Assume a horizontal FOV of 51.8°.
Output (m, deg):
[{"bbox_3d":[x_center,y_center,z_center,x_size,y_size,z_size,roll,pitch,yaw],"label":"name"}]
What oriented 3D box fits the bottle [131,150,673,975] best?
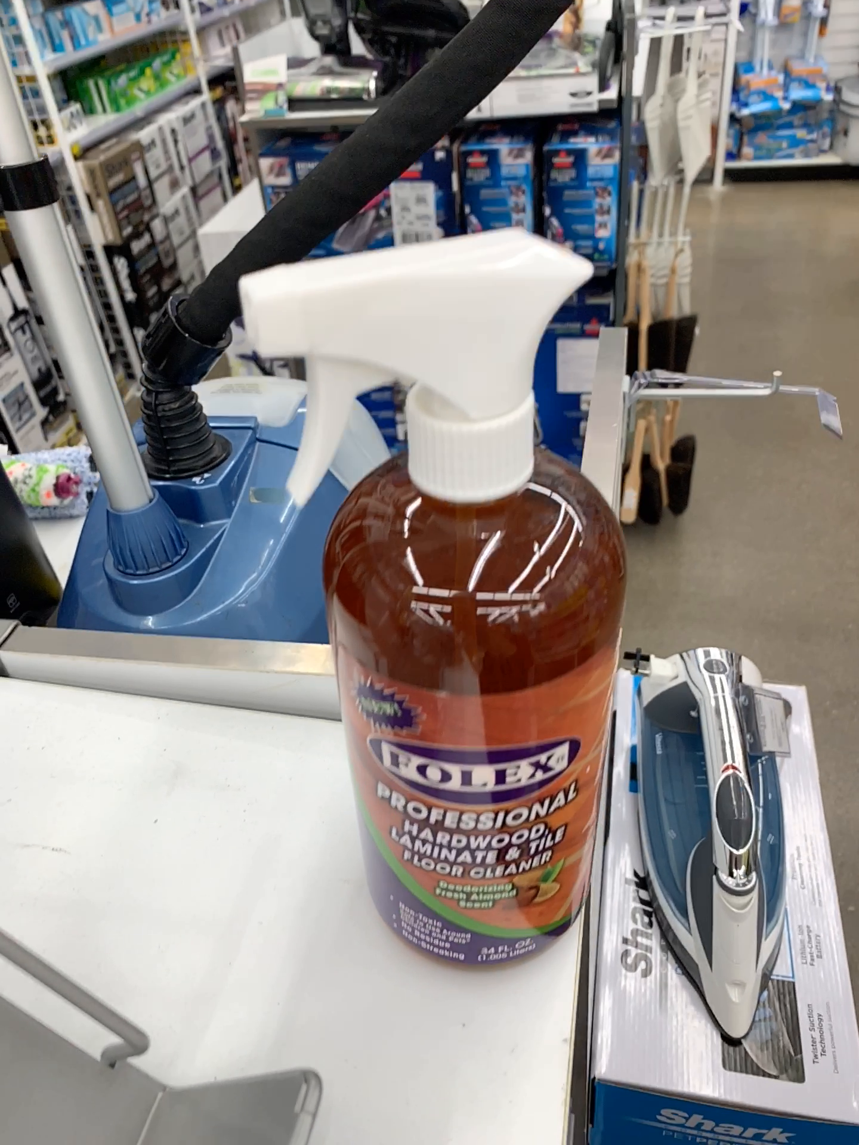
[{"bbox_3d":[0.007,0.019,0.274,0.100,0.248,0.091,-3,39,5],"label":"bottle"}]
